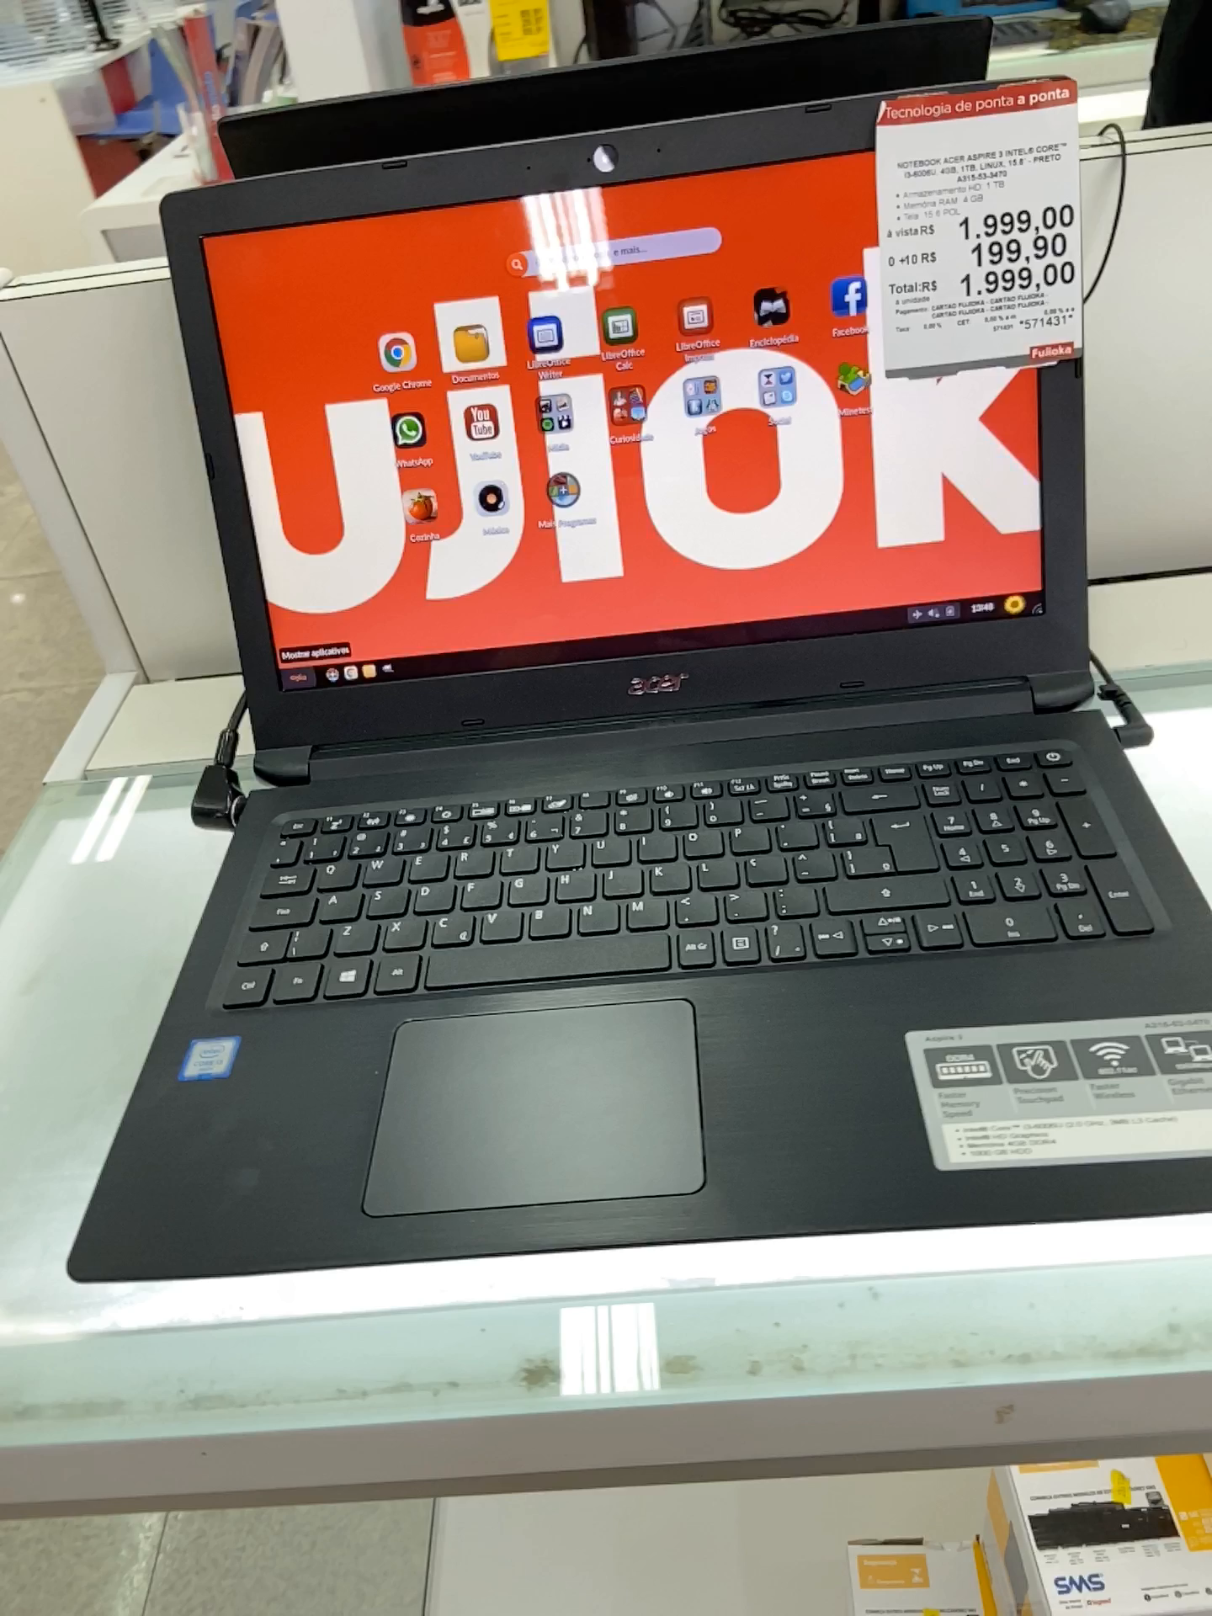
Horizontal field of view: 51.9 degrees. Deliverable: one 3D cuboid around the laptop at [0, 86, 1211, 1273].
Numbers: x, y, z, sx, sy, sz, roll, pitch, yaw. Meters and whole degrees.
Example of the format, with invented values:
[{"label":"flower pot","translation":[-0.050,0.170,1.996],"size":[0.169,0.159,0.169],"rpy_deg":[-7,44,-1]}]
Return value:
[{"label":"laptop","translation":[0.011,-0.075,0.448],"size":[0.392,0.230,0.372],"rpy_deg":[-5,37,5]}]
